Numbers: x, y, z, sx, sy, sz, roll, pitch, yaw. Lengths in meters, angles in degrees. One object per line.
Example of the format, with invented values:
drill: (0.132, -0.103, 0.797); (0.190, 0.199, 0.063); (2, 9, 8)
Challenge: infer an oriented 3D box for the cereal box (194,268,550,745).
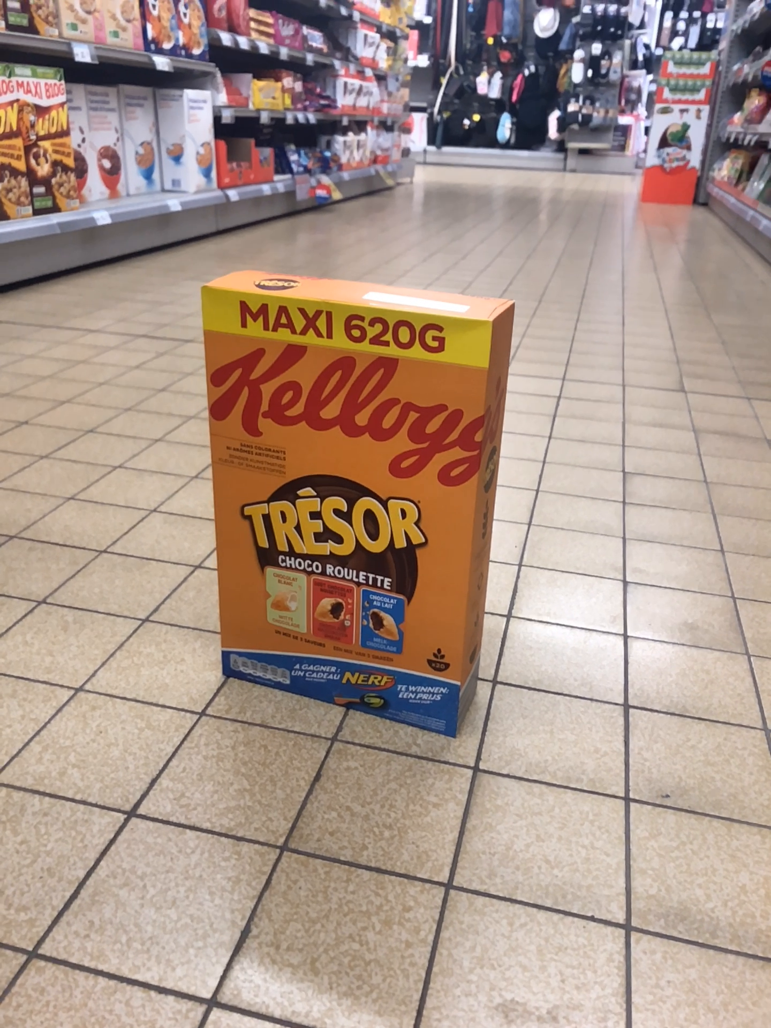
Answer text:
cereal box: (-0.015, -0.006, 0.583); (0.210, 0.288, 0.070); (11, 25, 19)
